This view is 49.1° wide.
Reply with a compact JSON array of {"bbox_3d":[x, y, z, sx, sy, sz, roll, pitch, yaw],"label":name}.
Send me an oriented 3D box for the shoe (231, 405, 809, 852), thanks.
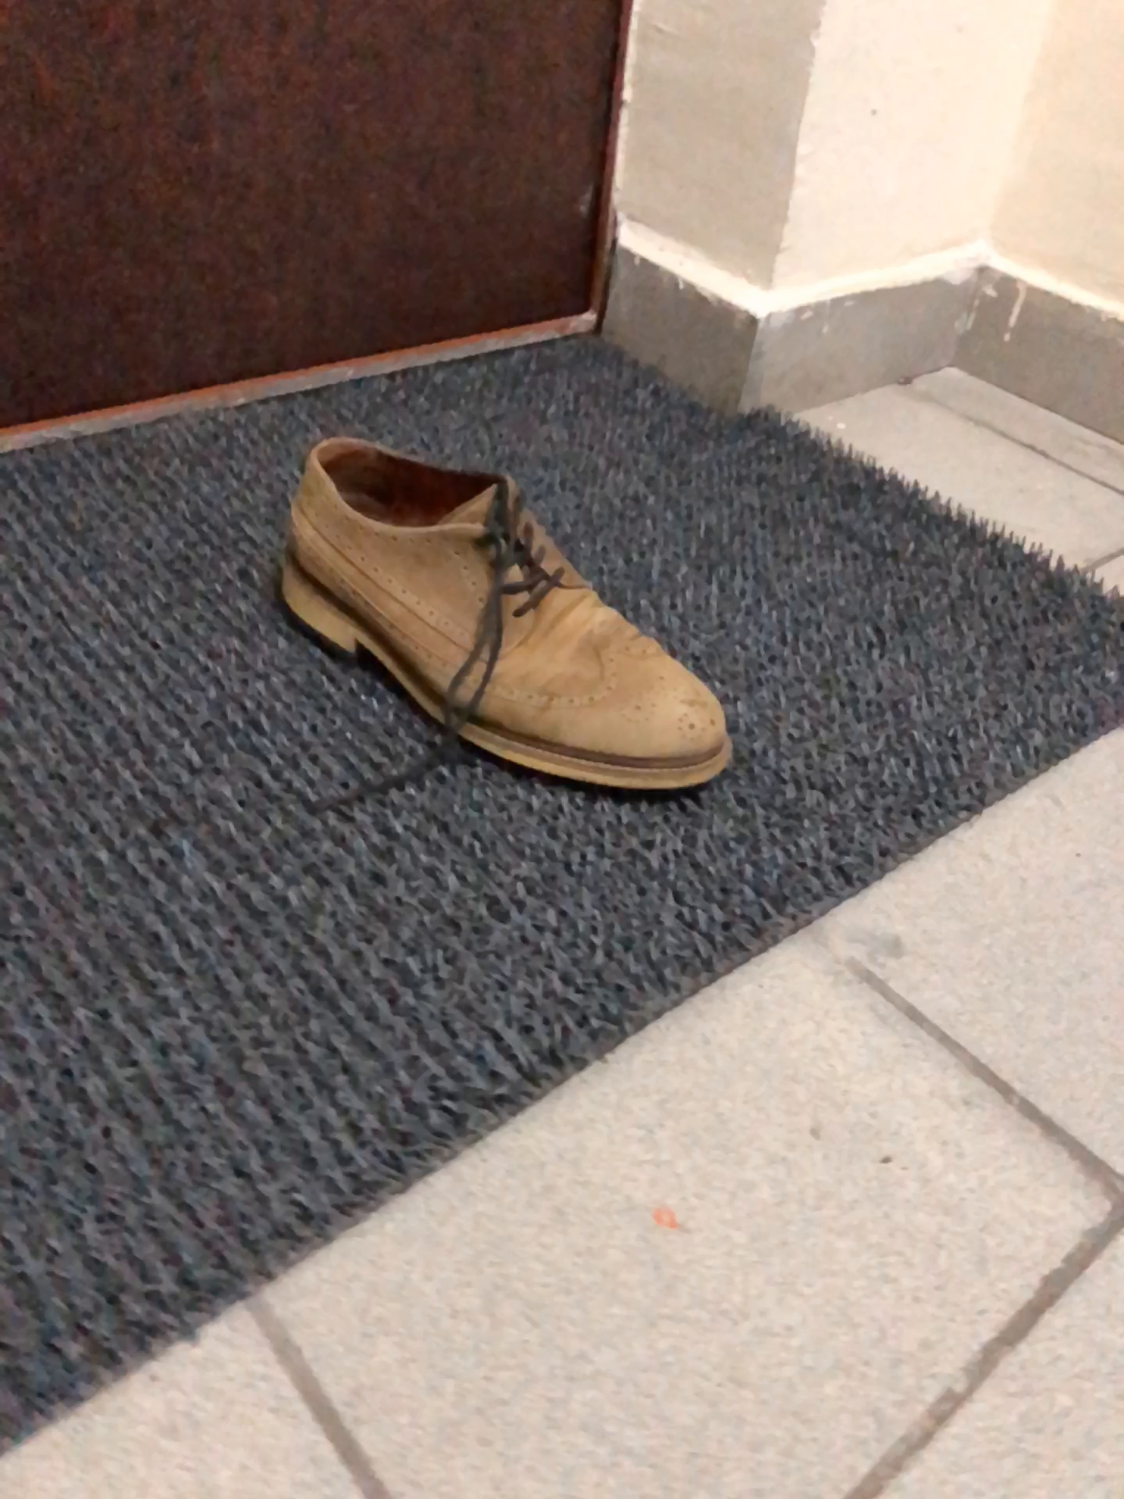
[{"bbox_3d":[-0.033,-0.079,0.675,0.301,0.099,0.111,29,43,24],"label":"shoe"}]
